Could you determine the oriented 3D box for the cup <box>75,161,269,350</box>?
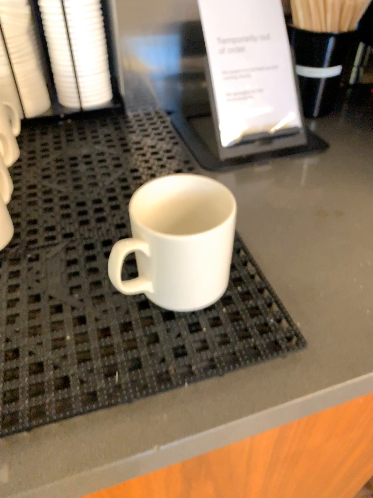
[{"bbox_3d":[-0.010,-0.001,0.330,0.120,0.079,0.090,-30,50,-28],"label":"cup"}]
